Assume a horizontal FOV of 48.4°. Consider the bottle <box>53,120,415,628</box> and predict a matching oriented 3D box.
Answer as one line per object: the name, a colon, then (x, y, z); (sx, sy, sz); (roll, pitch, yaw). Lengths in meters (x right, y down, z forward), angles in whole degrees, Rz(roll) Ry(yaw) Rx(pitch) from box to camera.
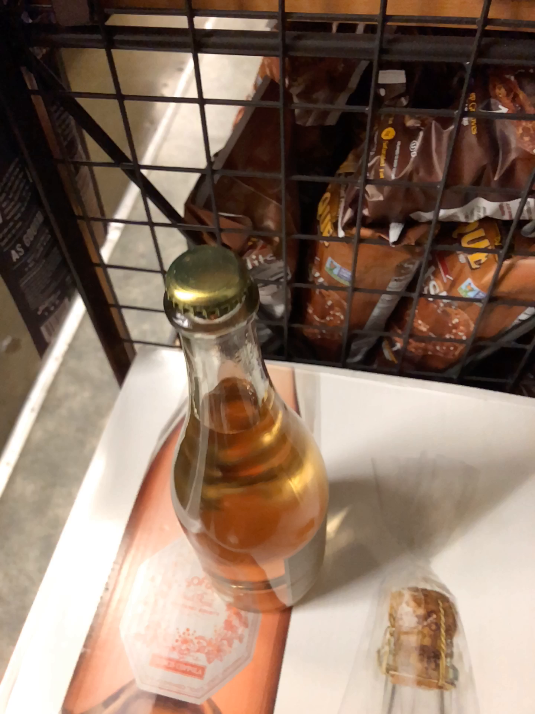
bottle: (0.000, 0.045, 0.322); (0.095, 0.305, 0.099); (-1, 53, 2)
